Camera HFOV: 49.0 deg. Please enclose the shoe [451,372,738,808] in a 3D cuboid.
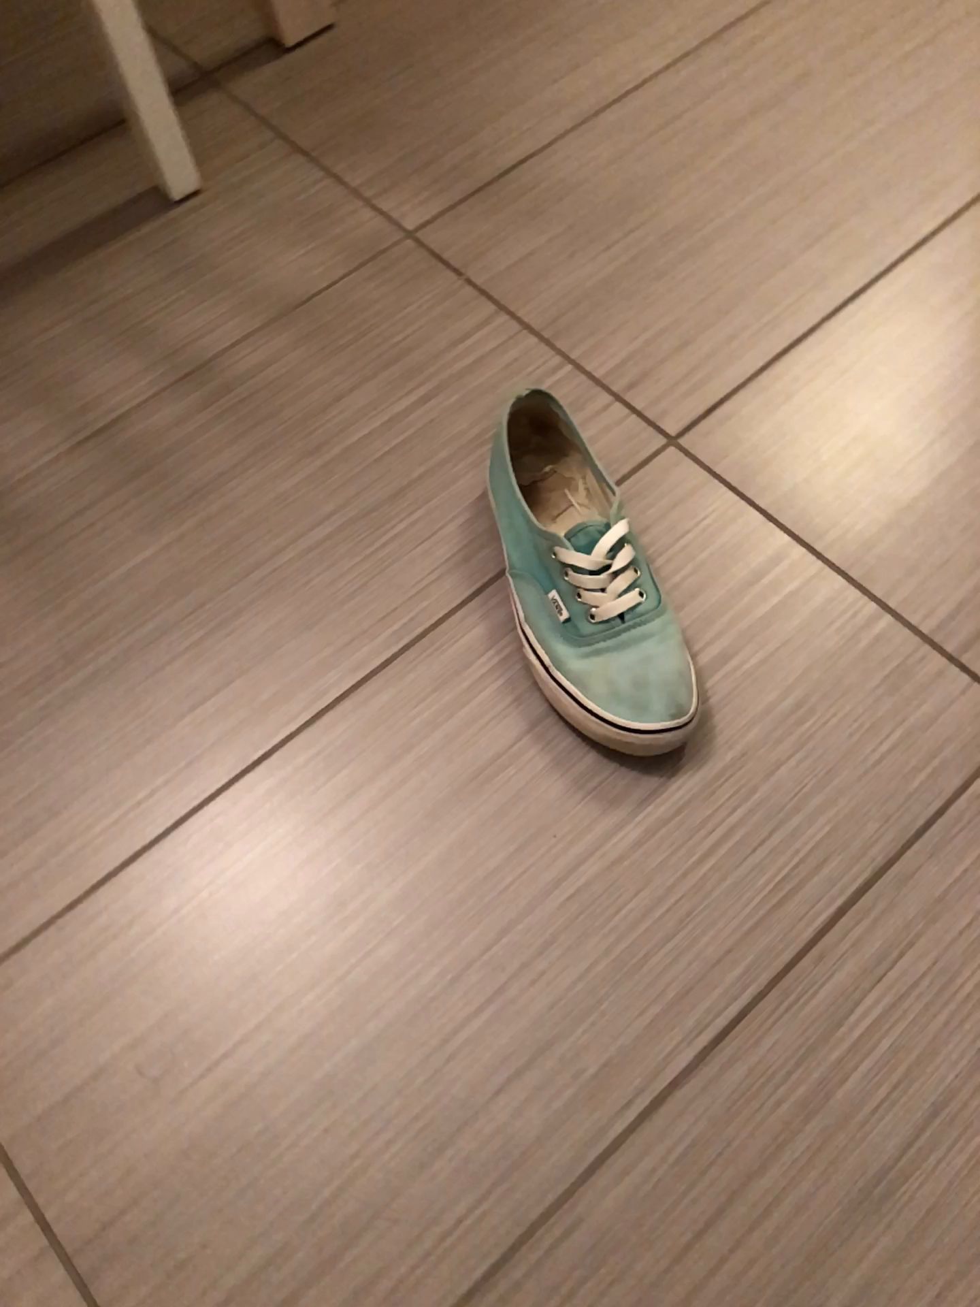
[{"bbox_3d":[0.058,-0.047,0.681,0.090,0.080,0.261,-17,61,-5],"label":"shoe"}]
